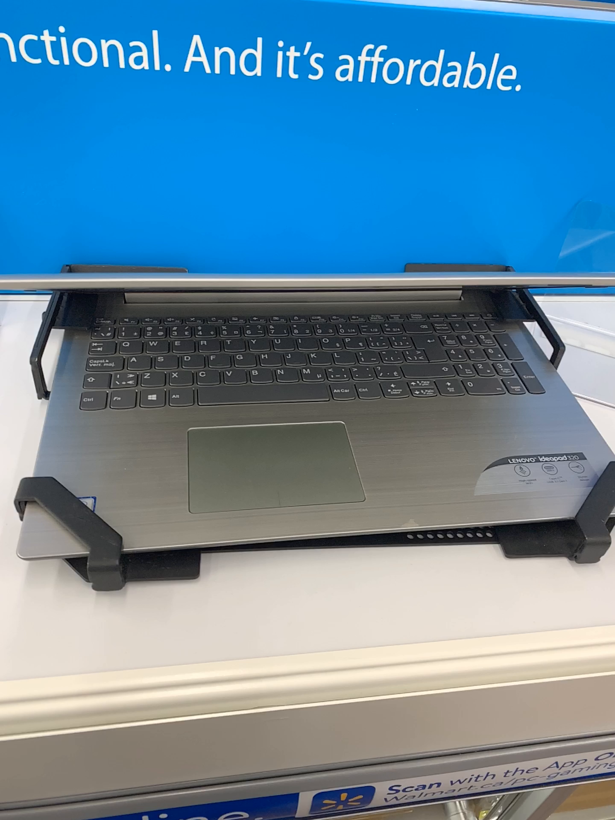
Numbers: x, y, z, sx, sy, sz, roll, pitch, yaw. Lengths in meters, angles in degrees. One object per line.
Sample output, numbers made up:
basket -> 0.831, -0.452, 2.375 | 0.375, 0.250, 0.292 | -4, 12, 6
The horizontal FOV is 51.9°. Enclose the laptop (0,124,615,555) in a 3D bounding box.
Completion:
laptop -> 0.016, -0.057, 0.358 | 0.324, 0.110, 0.220 | -2, 43, -10
